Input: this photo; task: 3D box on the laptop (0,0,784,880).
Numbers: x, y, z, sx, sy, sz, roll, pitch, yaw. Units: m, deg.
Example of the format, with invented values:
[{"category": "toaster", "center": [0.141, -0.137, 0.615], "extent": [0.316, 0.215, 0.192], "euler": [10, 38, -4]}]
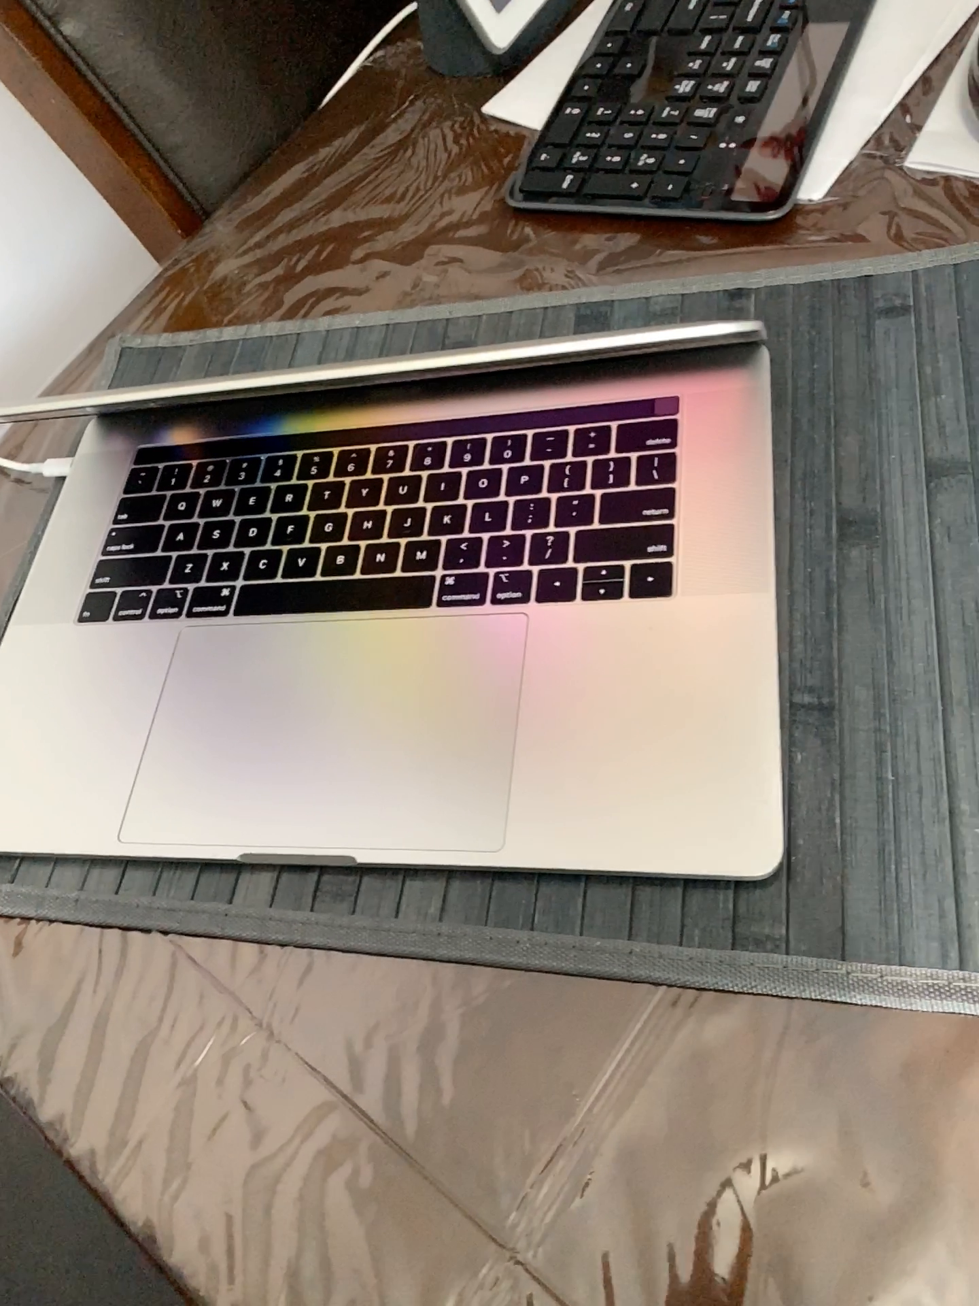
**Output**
[{"category": "laptop", "center": [-0.077, -0.066, 0.359], "extent": [0.342, 0.166, 0.233], "euler": [-2, 61, 17]}]
